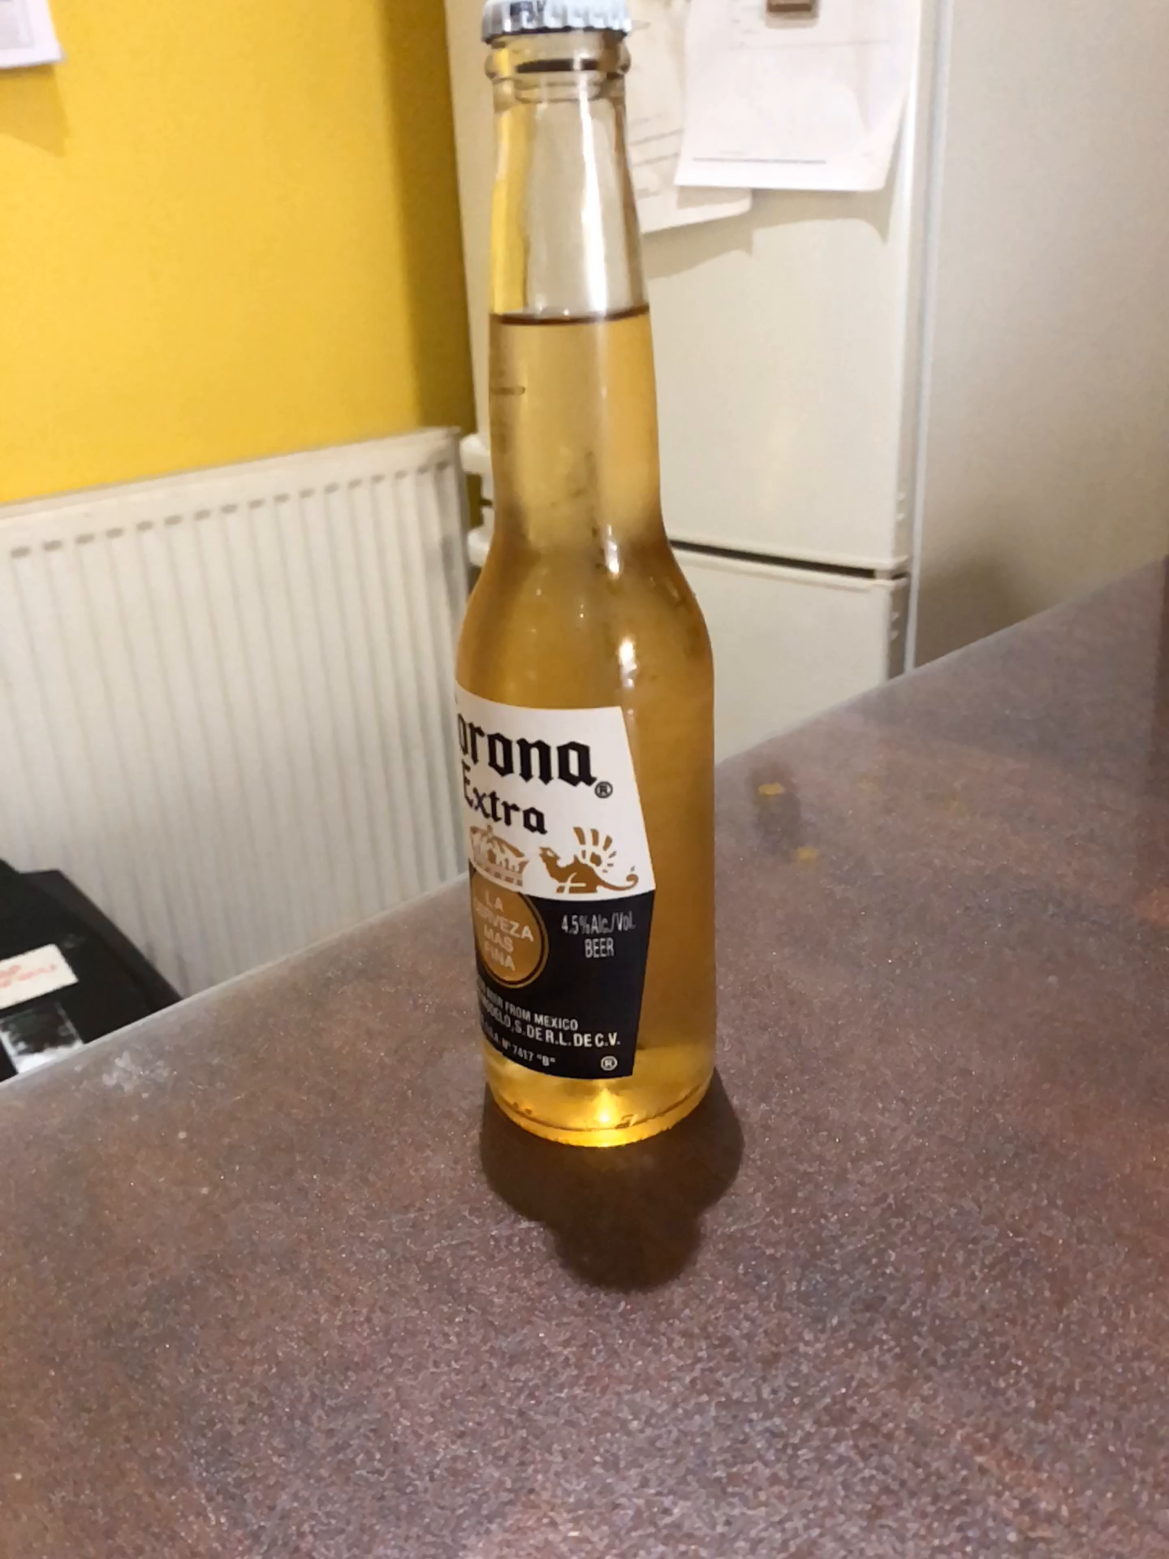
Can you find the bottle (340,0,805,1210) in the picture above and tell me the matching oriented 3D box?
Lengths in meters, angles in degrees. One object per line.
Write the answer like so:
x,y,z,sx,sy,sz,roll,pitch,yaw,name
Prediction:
0.003,-0.031,0.280,0.060,0.238,0.060,-3,23,1,bottle
